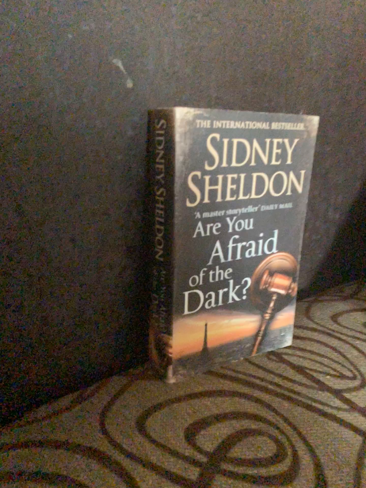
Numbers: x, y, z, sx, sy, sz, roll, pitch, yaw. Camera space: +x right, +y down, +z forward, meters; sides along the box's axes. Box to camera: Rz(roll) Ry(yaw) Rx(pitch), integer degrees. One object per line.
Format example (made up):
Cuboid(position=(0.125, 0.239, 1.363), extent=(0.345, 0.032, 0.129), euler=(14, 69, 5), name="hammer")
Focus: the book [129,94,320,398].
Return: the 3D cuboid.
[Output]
Cuboid(position=(0.029, 0.000, 0.265), extent=(0.120, 0.179, 0.040), euler=(-5, 16, -34), name="book")
